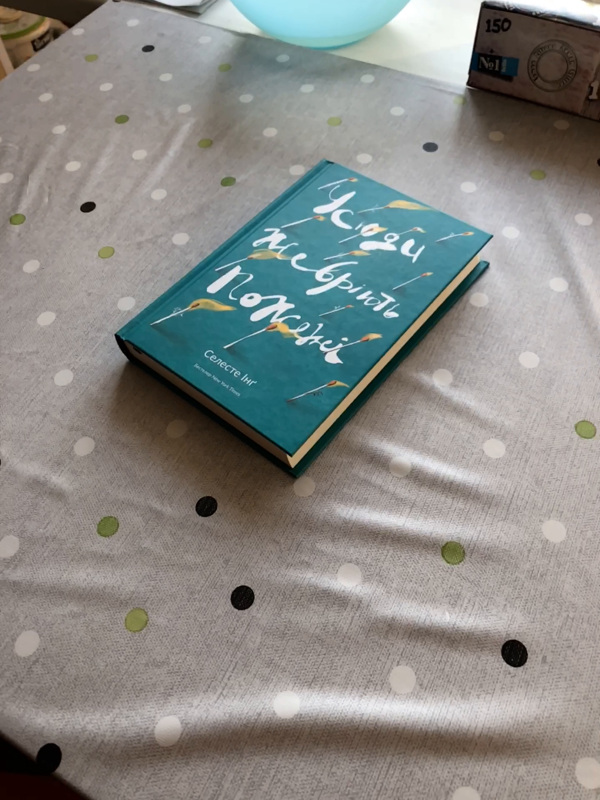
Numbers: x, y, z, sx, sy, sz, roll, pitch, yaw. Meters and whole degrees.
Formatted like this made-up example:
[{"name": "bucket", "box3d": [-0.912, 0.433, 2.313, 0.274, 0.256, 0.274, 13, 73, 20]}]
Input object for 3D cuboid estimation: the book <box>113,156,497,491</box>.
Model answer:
[{"name": "book", "box3d": [0.009, -0.065, 0.440, 0.144, 0.040, 0.214, 33, 64, 23]}]
